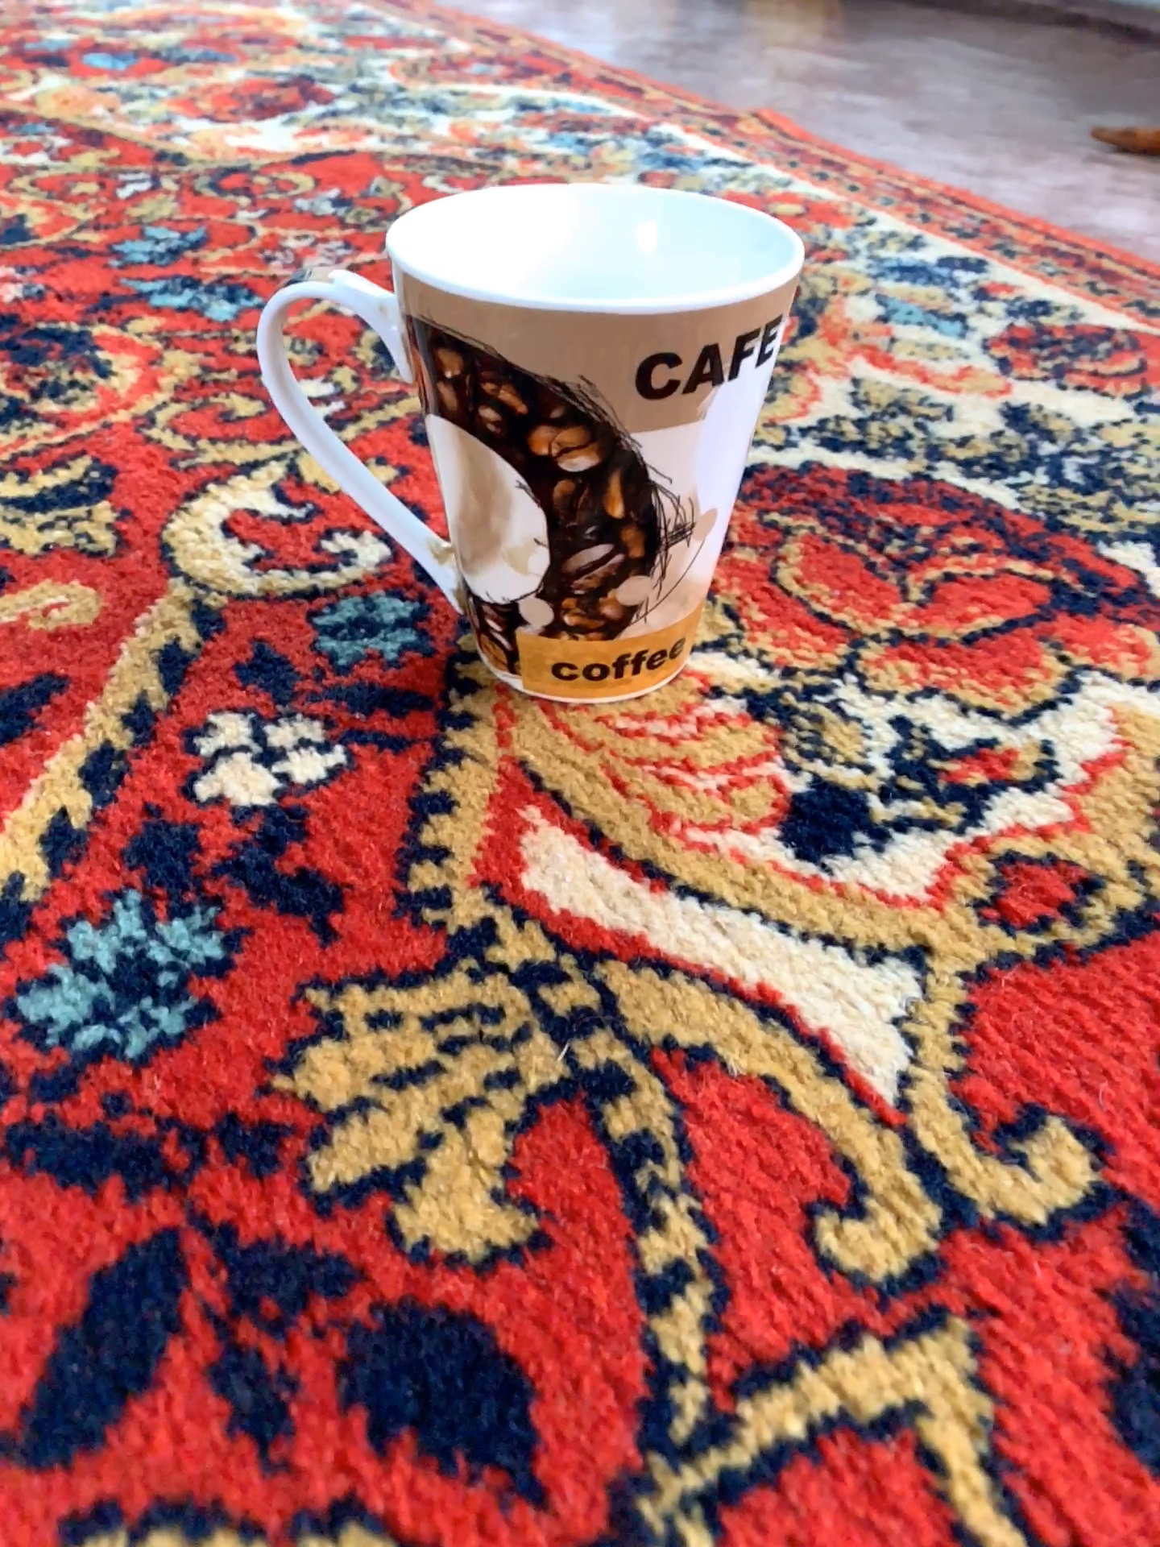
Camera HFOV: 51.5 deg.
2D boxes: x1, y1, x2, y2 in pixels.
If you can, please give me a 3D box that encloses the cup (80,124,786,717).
[{"bbox_3d":[-0.021,-0.074,0.241,0.110,0.079,0.081,8,38,5],"label":"cup"}]
